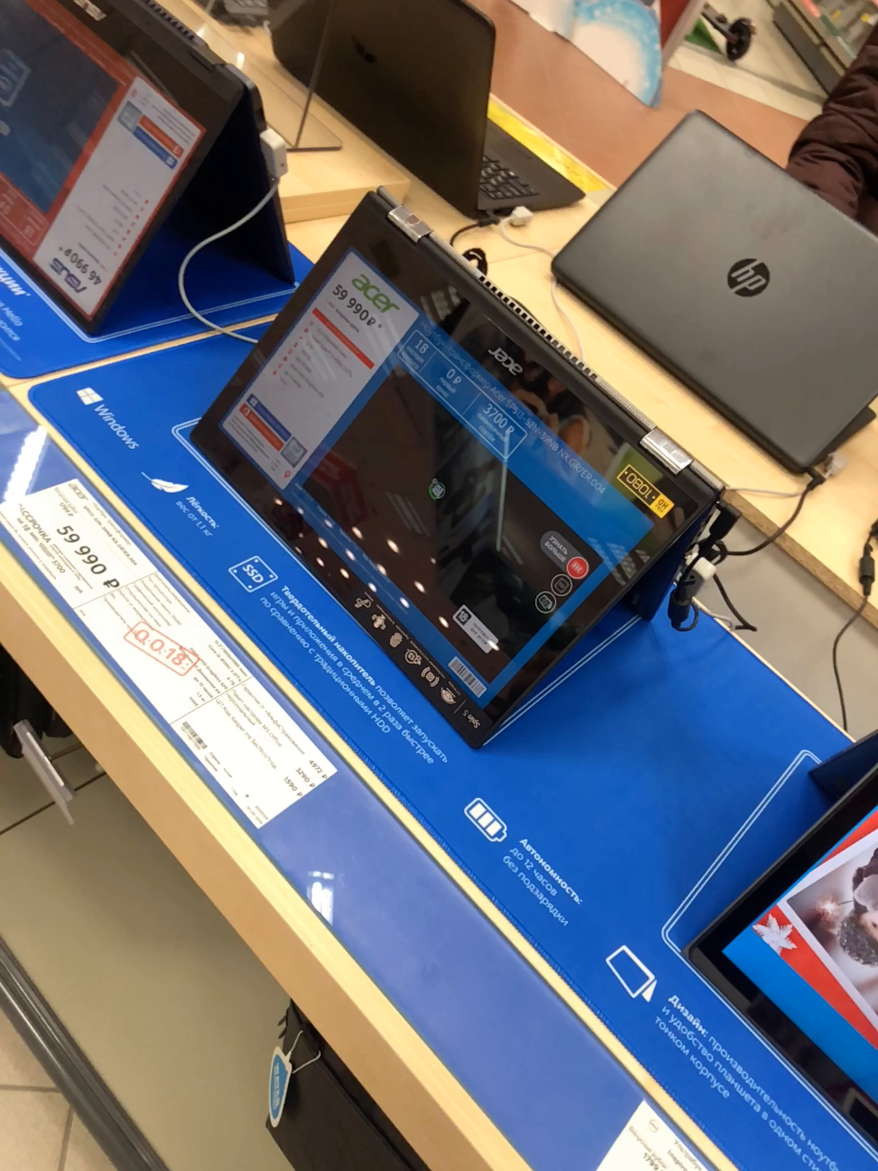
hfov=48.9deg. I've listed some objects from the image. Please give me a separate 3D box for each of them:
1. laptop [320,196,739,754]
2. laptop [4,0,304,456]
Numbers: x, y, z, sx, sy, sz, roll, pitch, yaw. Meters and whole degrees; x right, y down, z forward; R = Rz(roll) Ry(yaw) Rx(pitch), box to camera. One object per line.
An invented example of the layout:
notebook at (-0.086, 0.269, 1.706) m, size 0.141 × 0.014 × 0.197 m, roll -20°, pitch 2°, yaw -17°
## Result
laptop at (0.038, -0.049, 0.791) m, size 0.307 × 0.159 × 0.201 m, roll 44°, pitch 9°, yaw 11°
laptop at (-0.261, -0.342, 0.884) m, size 0.269 × 0.179 × 0.175 m, roll 45°, pitch 15°, yaw 15°
